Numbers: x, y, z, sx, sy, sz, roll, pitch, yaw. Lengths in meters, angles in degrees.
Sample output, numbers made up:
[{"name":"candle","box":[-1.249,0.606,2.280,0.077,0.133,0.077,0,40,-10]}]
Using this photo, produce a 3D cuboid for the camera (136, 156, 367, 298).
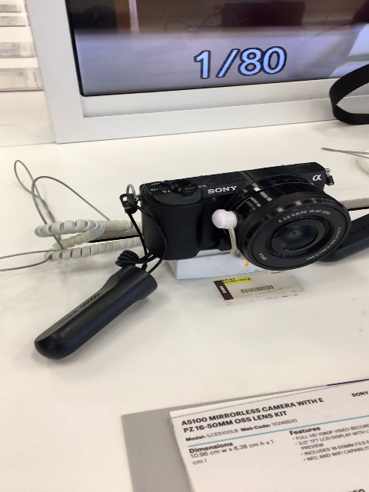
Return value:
[{"name":"camera","box":[0.041,-0.014,0.319,0.126,0.064,0.048,-11,42,-13]}]
